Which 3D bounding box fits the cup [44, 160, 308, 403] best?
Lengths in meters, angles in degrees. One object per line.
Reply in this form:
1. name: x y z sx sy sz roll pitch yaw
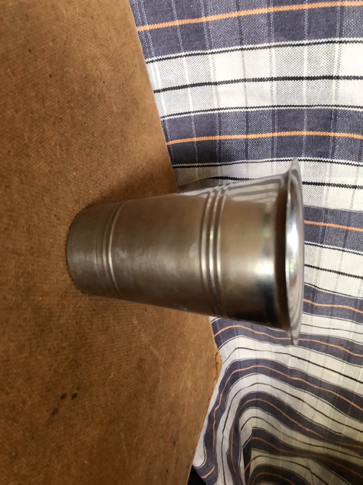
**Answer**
1. cup: 0.008 0.008 0.187 0.091 0.089 0.080 -23 110 -68
